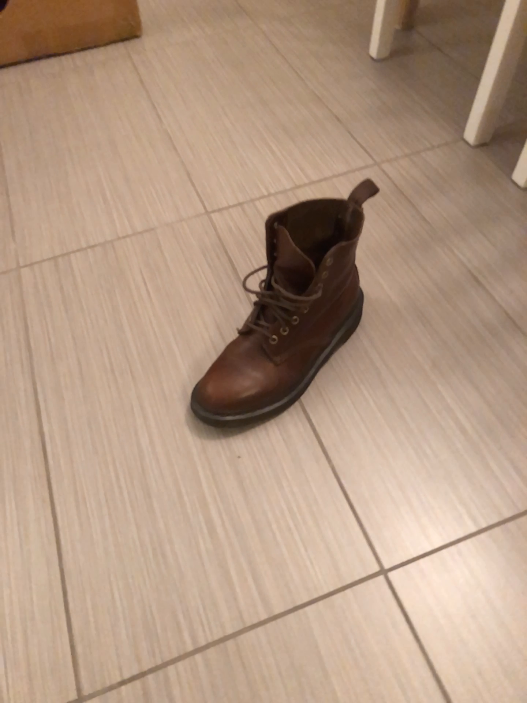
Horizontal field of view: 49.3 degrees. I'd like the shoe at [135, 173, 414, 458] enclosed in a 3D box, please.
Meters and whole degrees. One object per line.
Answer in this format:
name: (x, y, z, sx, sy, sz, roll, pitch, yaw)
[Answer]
shoe: (0.023, -0.044, 0.662, 0.282, 0.180, 0.116, -35, 57, -21)
